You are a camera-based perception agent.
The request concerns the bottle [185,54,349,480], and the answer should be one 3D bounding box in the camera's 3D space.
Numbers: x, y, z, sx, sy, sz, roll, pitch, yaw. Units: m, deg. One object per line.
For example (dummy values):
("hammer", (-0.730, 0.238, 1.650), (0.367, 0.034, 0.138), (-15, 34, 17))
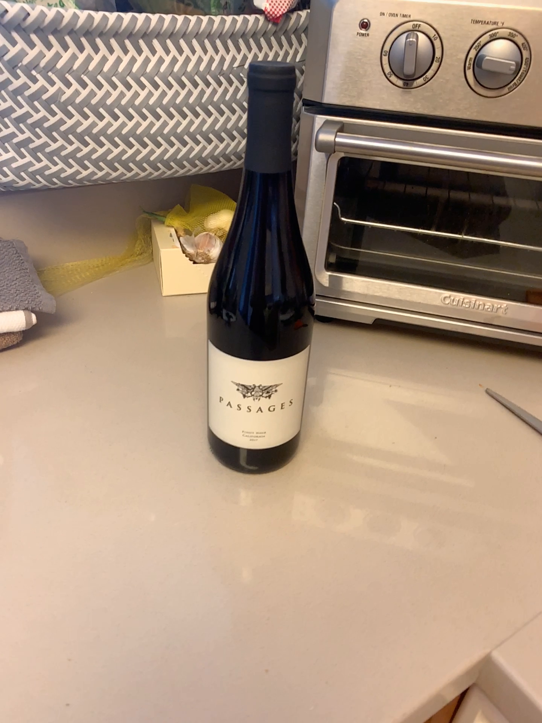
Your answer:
("bottle", (-0.007, -0.051, 0.382), (0.080, 0.268, 0.091), (5, 33, 1))
